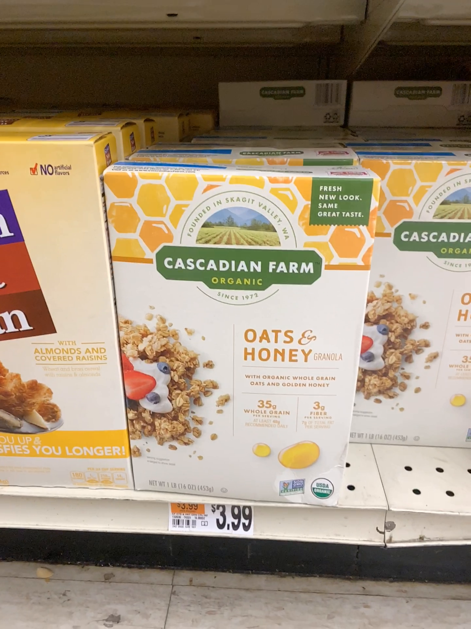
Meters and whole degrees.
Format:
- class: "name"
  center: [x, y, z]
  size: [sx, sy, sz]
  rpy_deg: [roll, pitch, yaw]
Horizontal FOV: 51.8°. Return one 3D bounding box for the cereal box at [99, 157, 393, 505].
- class: "cereal box"
  center: [0.006, 0.015, 0.337]
  size: [0.160, 0.229, 0.060]
  rpy_deg: [3, 24, 6]
